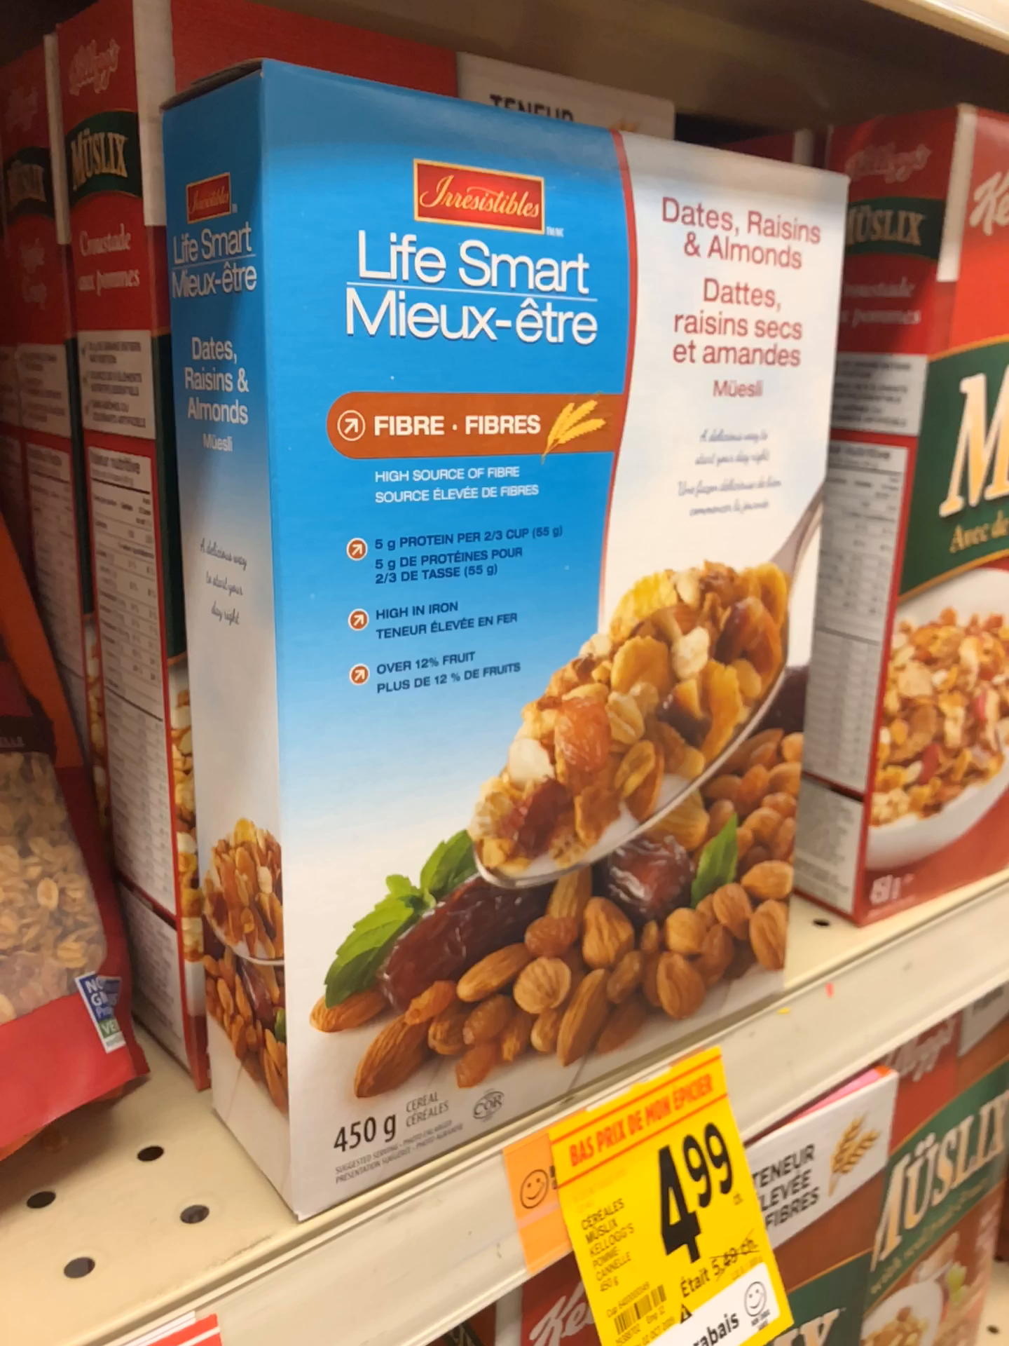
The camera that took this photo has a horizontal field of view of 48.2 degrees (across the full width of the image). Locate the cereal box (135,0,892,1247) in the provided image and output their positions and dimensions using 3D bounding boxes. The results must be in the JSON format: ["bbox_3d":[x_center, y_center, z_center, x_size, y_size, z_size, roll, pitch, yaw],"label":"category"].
[{"bbox_3d":[0.008,-0.012,0.277,0.170,0.239,0.050,-10,19,-36],"label":"cereal box"}]
